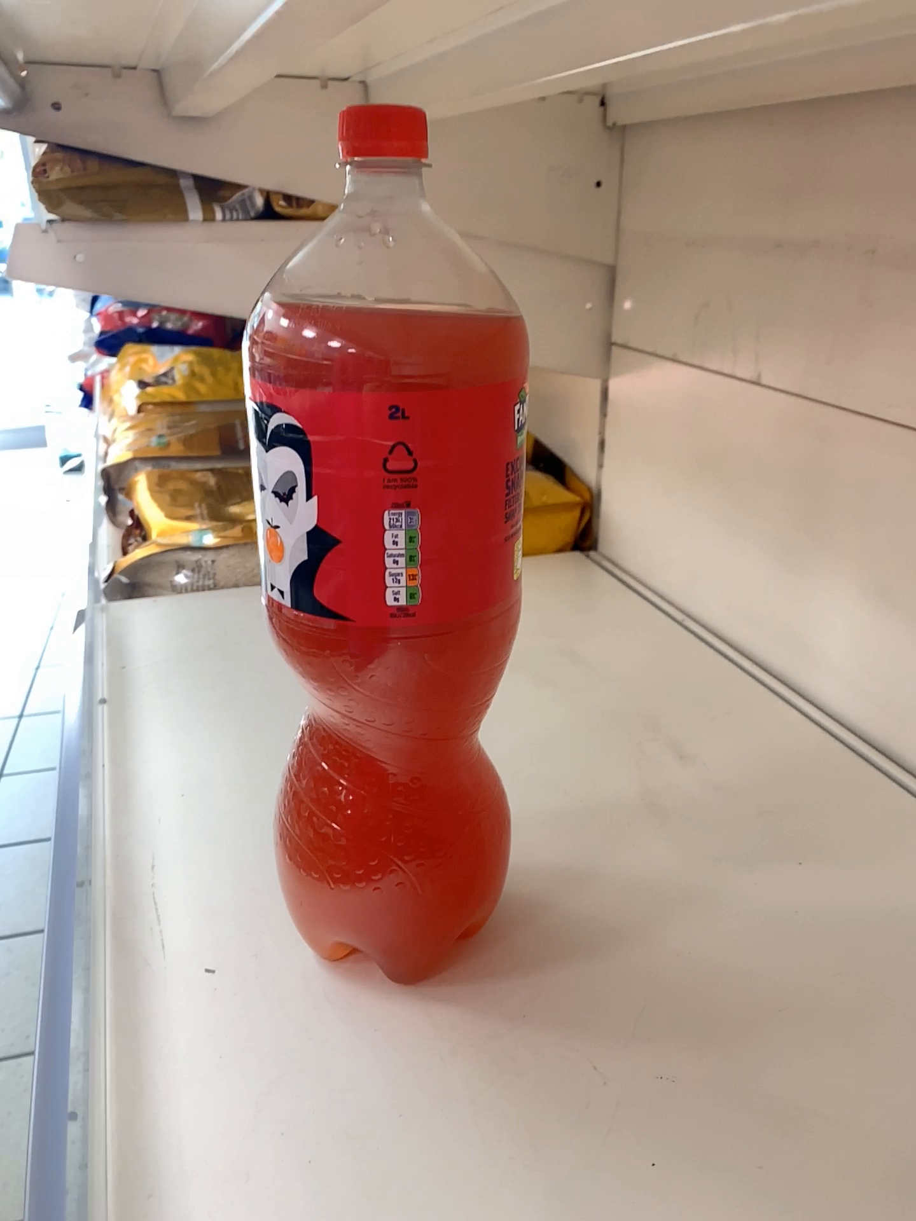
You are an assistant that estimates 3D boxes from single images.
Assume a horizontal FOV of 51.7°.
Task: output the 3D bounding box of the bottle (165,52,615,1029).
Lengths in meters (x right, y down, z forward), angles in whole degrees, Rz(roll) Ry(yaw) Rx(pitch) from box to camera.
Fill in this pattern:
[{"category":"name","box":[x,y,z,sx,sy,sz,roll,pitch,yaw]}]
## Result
[{"category":"bottle","box":[-0.029,-0.021,0.374,0.110,0.327,0.121,0,23,0]}]
